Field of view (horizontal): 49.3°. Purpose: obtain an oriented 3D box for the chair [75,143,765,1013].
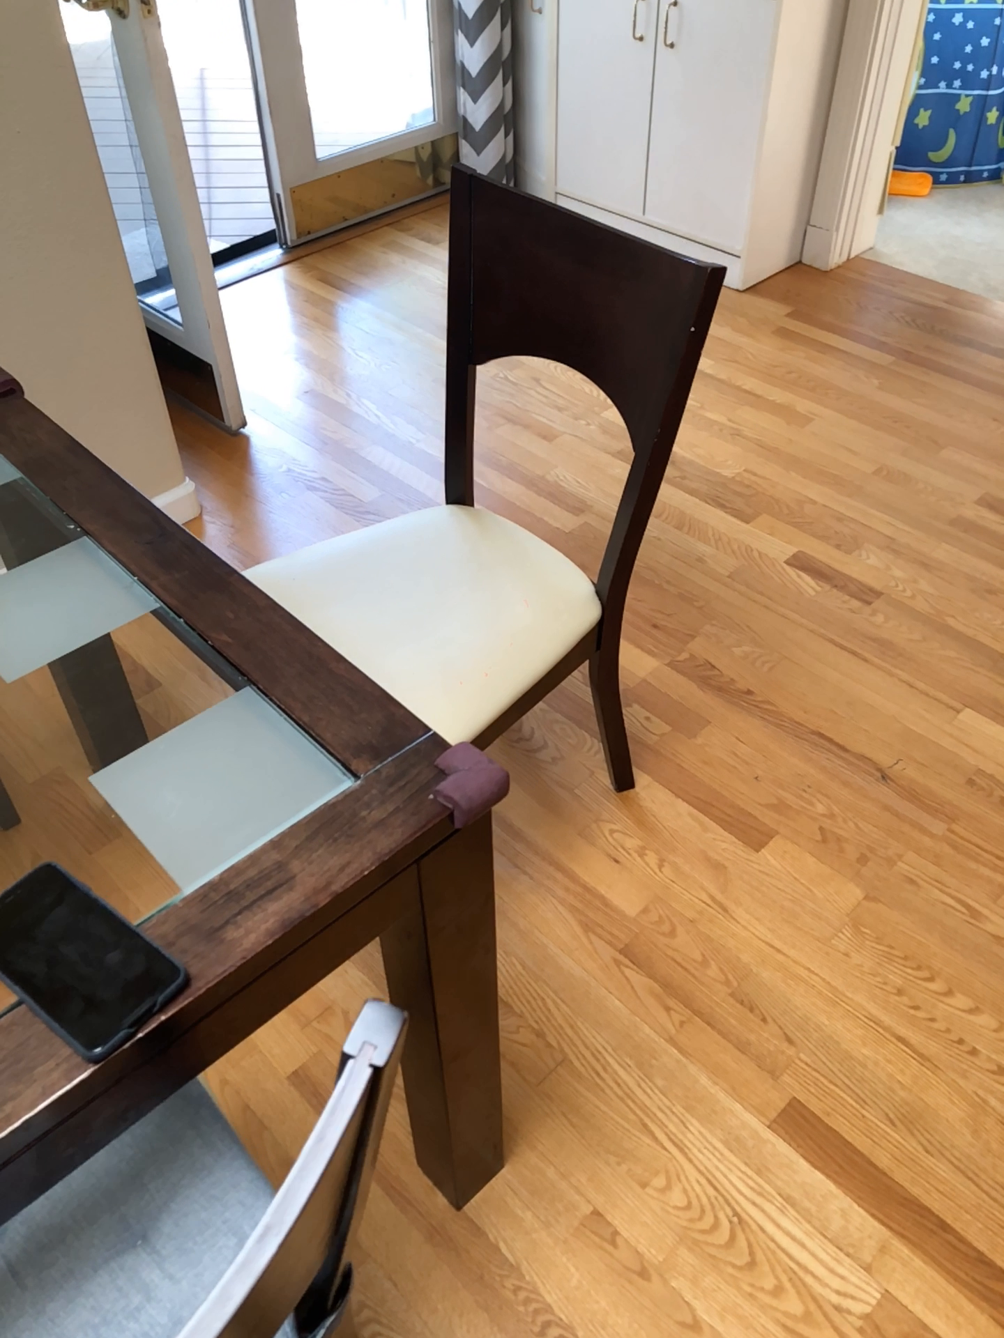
[{"bbox_3d":[-0.091,-0.121,1.620,0.591,0.994,0.562,-31,50,-28],"label":"chair"}]
